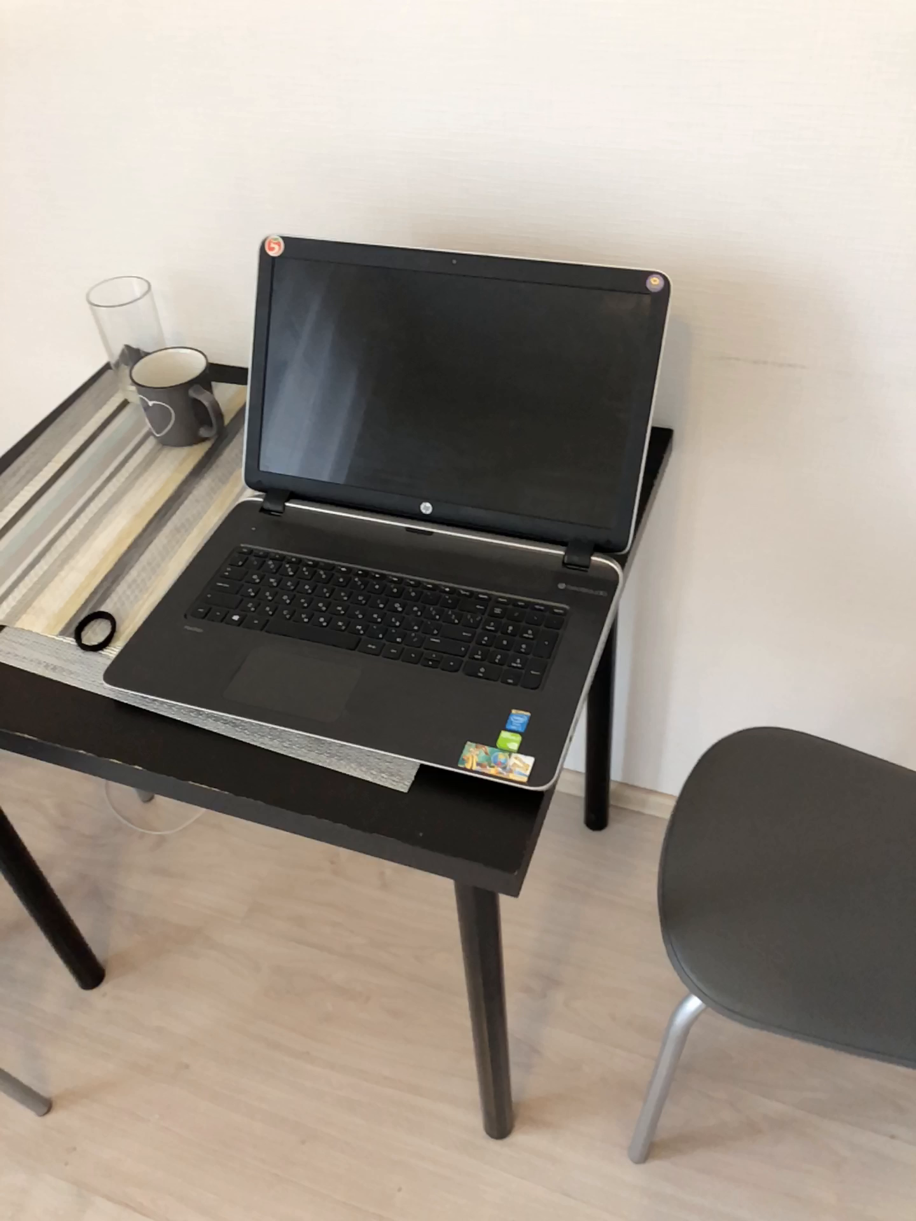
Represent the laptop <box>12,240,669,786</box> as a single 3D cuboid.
[{"bbox_3d":[-0.066,-0.121,0.917,0.416,0.227,0.414,11,46,17],"label":"laptop"}]
